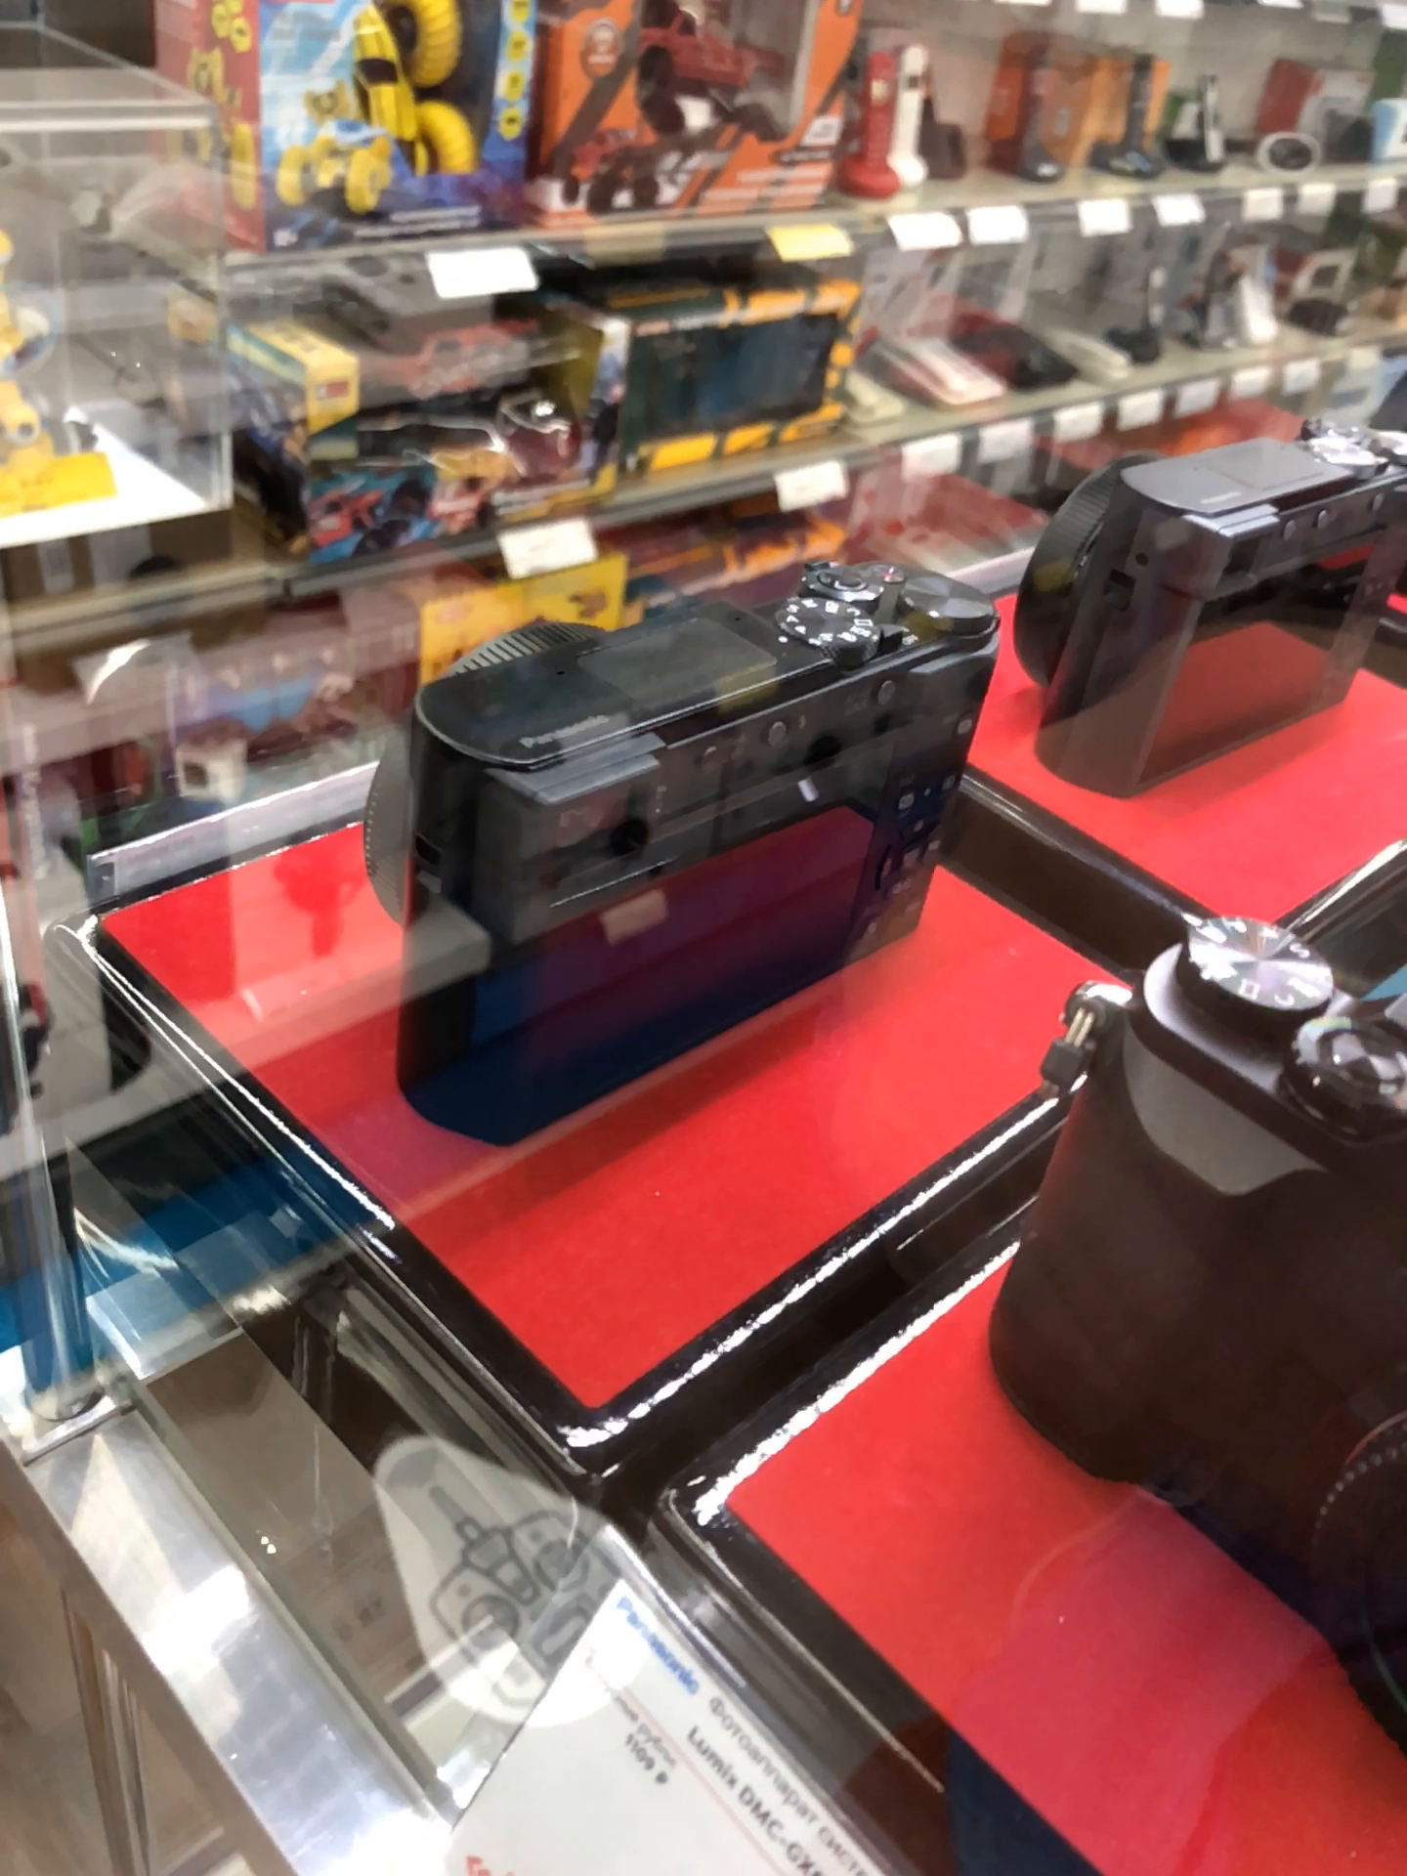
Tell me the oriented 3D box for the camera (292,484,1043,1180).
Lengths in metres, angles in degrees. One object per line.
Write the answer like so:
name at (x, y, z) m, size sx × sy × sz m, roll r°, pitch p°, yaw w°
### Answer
camera at (-0.005, -0.024, 0.258) m, size 0.110 × 0.070 × 0.052 m, roll -25°, pitch 49°, yaw -39°

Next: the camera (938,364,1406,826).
camera at (0.123, -0.087, 0.380) m, size 0.114 × 0.076 × 0.055 m, roll -23°, pitch 47°, yaw -37°

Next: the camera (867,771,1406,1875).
camera at (0.082, 0.044, 0.178) m, size 0.054 × 0.076 × 0.102 m, roll -25°, pitch 49°, yaw -39°
